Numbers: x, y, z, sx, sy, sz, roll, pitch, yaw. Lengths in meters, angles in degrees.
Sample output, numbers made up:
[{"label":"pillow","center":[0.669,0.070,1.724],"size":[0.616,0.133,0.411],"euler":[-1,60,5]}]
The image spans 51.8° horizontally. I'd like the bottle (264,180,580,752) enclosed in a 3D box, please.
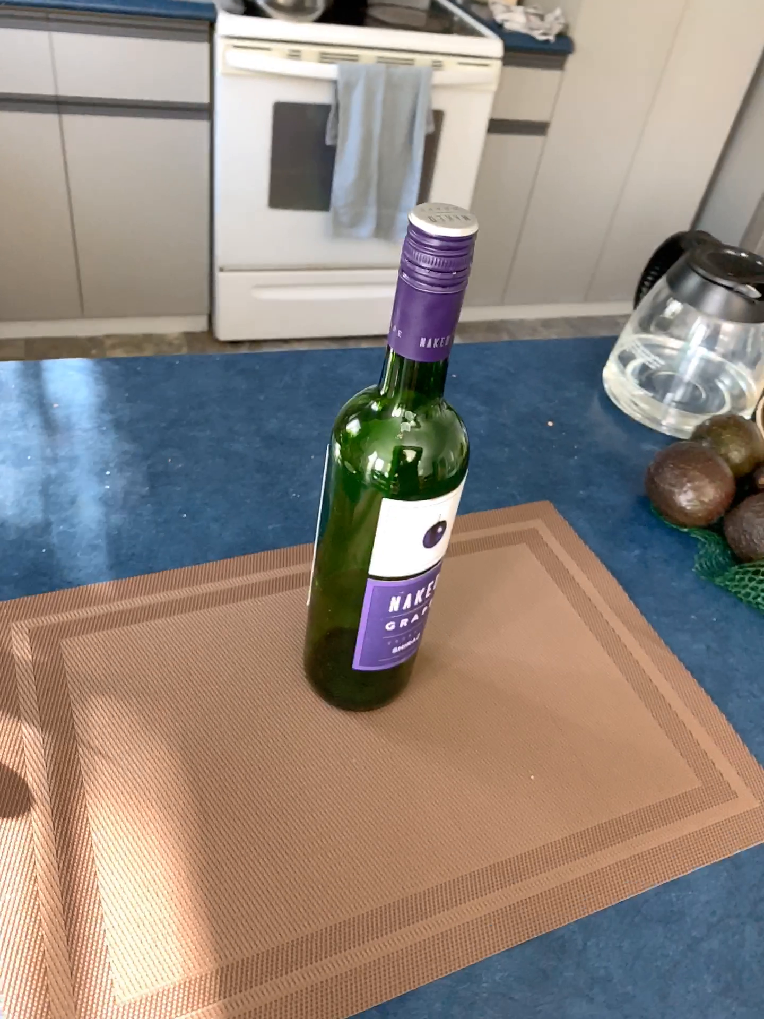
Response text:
[{"label":"bottle","center":[0.002,-0.003,0.403],"size":[0.080,0.287,0.080],"euler":[6,42,-5]}]
